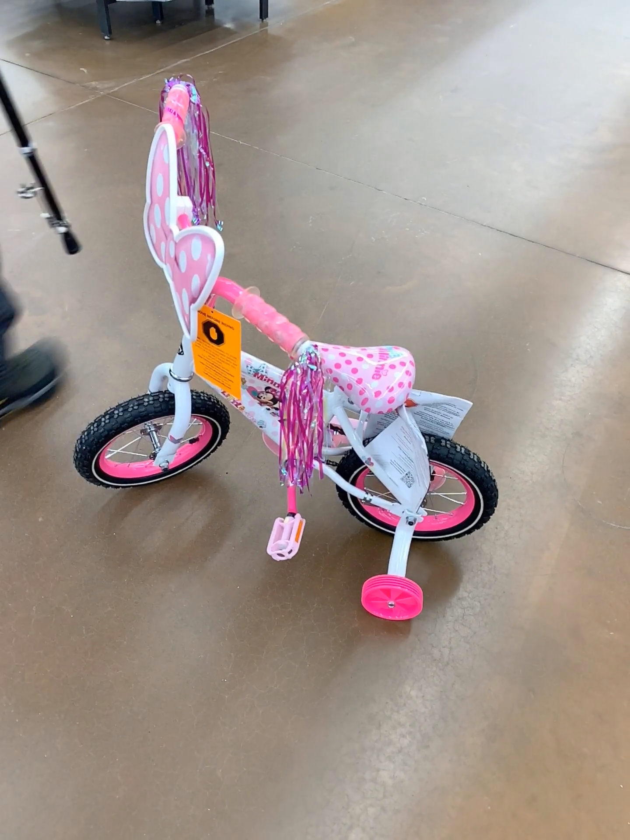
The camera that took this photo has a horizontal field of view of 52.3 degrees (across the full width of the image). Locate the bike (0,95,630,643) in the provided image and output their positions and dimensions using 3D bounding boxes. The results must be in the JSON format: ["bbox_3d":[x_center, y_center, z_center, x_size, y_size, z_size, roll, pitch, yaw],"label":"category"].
[{"bbox_3d":[-0.033,-0.073,1.039,0.724,0.648,0.503,5,46,3],"label":"bike"}]
